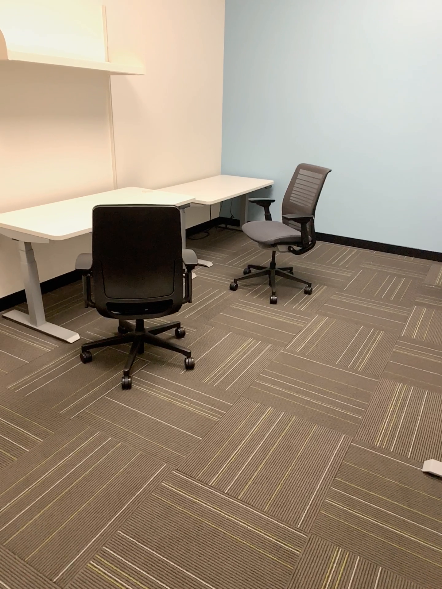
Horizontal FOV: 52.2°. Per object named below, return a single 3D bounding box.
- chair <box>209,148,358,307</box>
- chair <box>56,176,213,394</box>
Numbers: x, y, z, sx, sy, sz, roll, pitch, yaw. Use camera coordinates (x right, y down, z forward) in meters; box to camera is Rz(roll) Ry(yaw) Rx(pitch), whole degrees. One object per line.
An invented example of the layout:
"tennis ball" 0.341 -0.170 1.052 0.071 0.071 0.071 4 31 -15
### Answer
"chair" 0.407 -0.575 3.496 0.770 0.995 0.895 -5 24 -16
"chair" -0.479 -0.113 2.493 0.680 0.935 0.774 -4 23 -15
